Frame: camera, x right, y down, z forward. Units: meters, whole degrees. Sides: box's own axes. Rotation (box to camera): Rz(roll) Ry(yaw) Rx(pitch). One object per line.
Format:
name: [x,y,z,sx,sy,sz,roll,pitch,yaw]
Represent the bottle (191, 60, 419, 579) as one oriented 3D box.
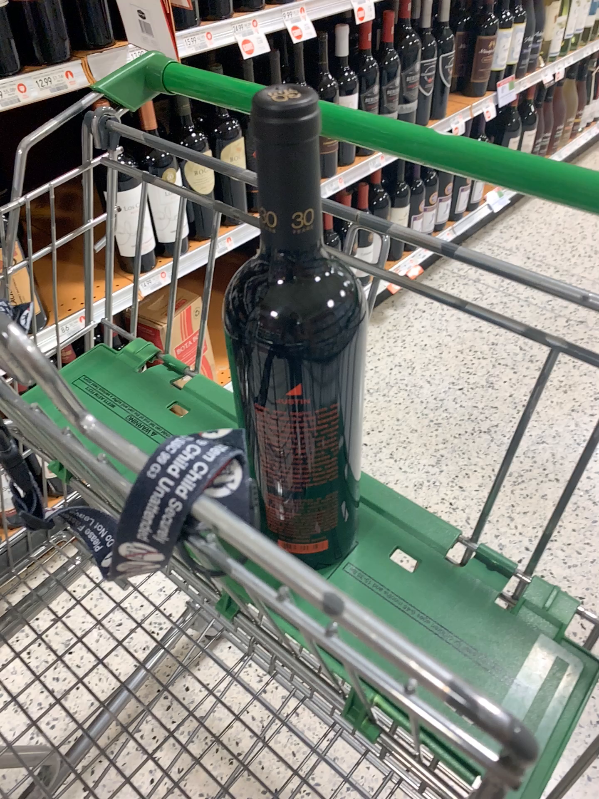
bottle: [0.004,-0.015,0.347,0.080,0.297,0.081,-1,43,1]
